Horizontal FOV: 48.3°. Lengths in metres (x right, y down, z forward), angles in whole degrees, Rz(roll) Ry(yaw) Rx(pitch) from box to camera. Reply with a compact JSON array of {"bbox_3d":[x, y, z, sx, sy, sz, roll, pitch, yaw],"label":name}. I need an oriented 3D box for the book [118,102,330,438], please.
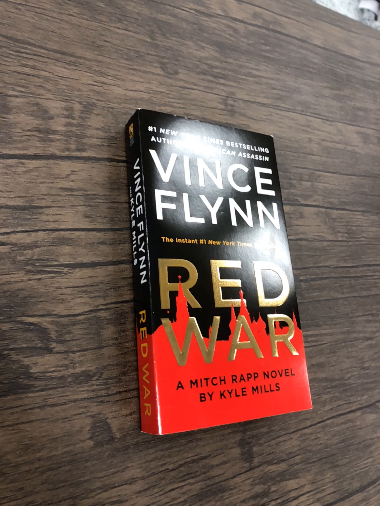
[{"bbox_3d":[0.019,0.005,0.264,0.110,0.030,0.183,2,73,-29],"label":"book"}]
